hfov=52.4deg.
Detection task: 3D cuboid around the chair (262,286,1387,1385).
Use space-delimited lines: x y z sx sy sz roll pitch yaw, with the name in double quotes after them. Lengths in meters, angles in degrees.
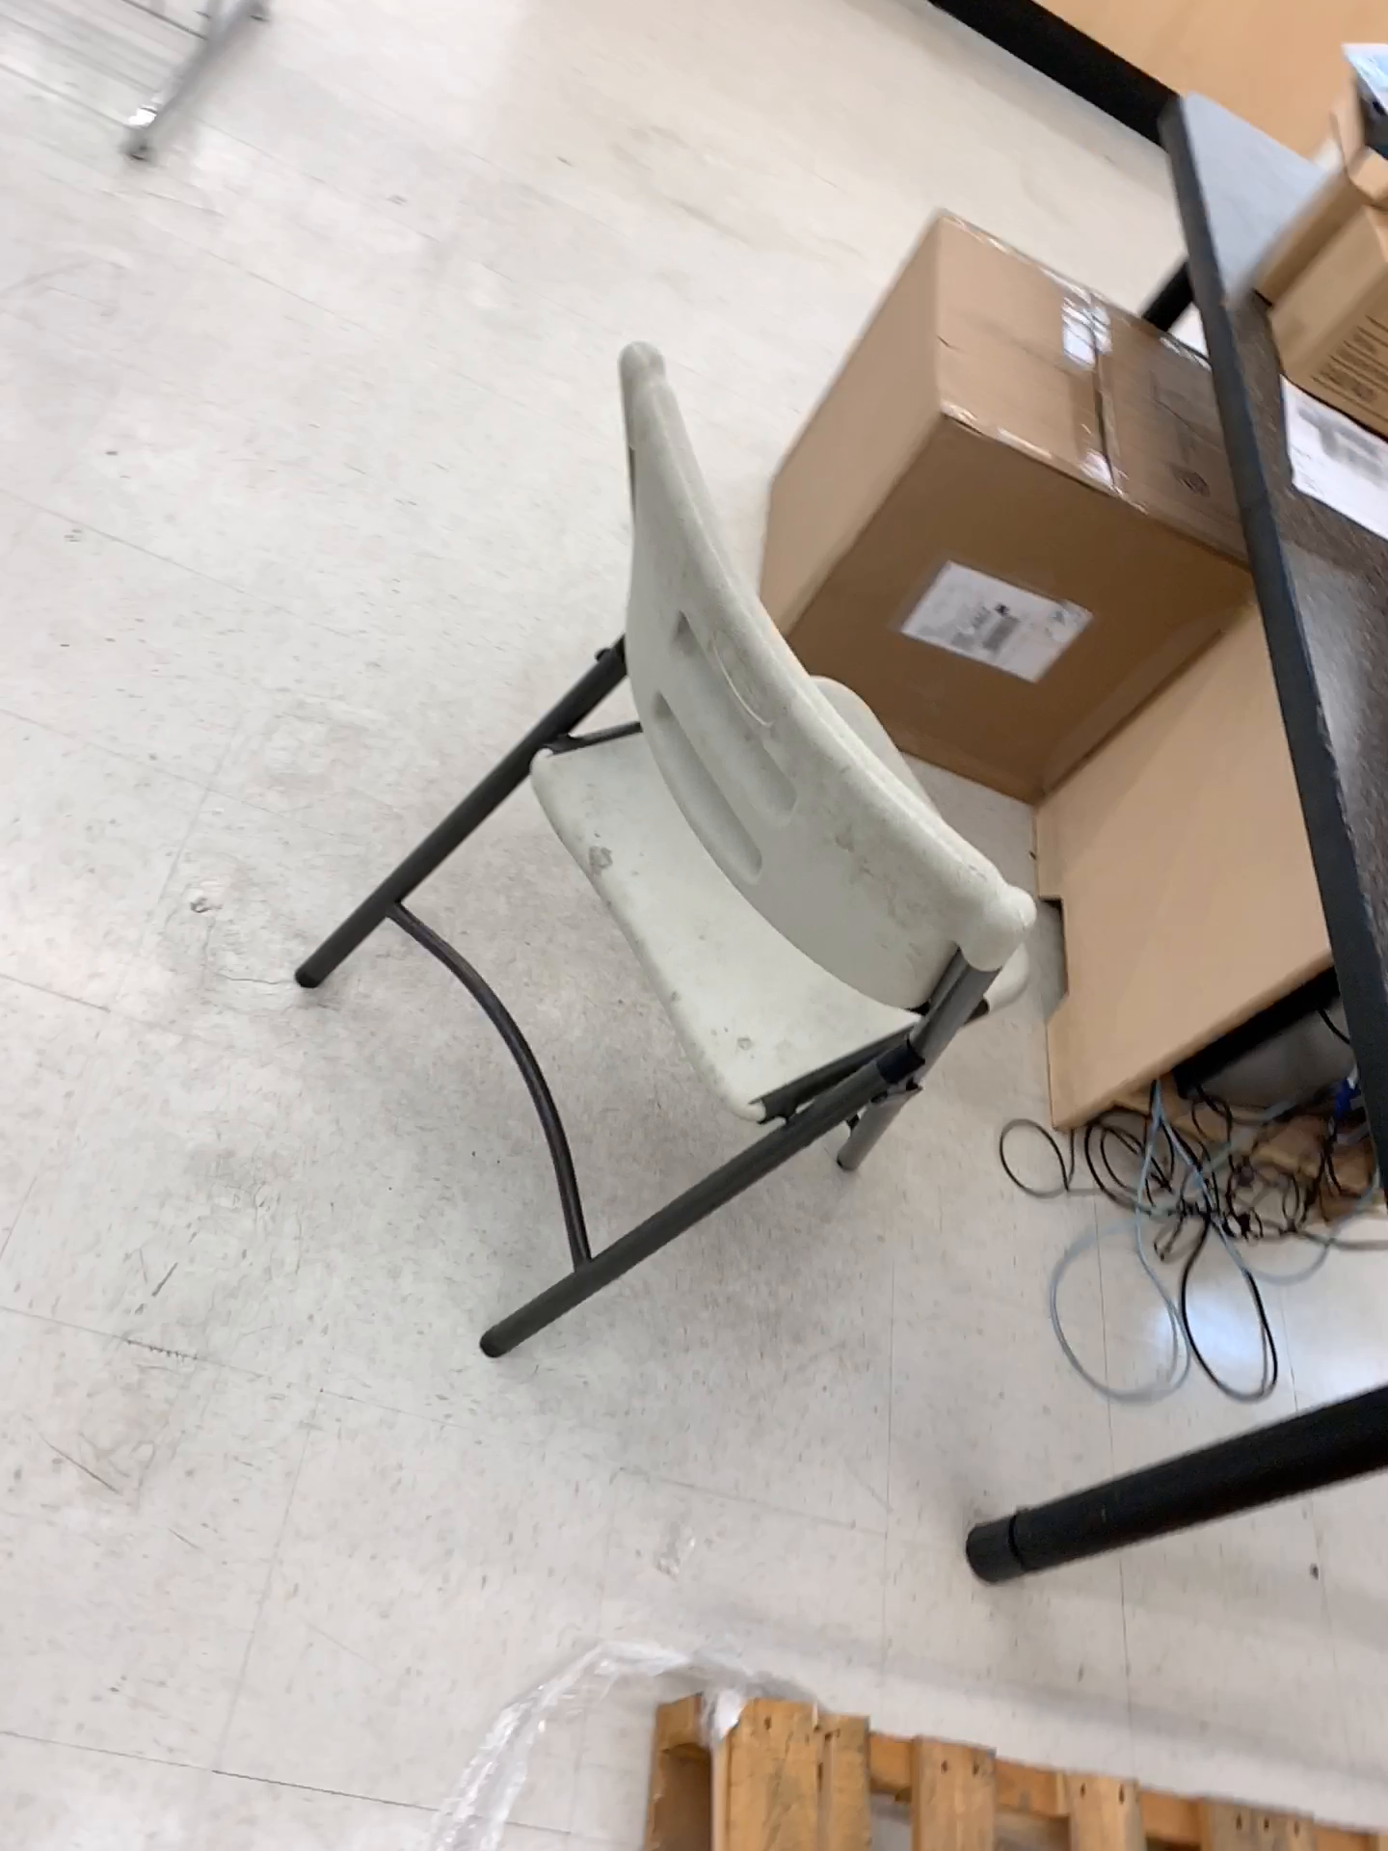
0.065 -0.061 1.251 0.562 0.747 0.531 -19 70 -37 "chair"
